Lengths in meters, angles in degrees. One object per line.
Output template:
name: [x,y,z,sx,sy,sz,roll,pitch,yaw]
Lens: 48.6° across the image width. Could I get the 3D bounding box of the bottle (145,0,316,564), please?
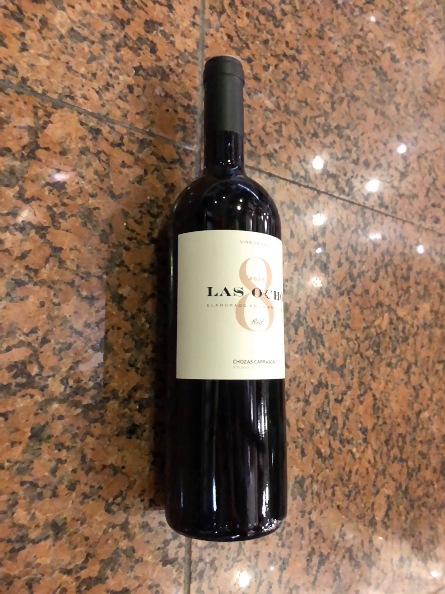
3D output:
bottle: [0.004,-0.024,0.328,0.080,0.070,0.340,6,81,-38]
